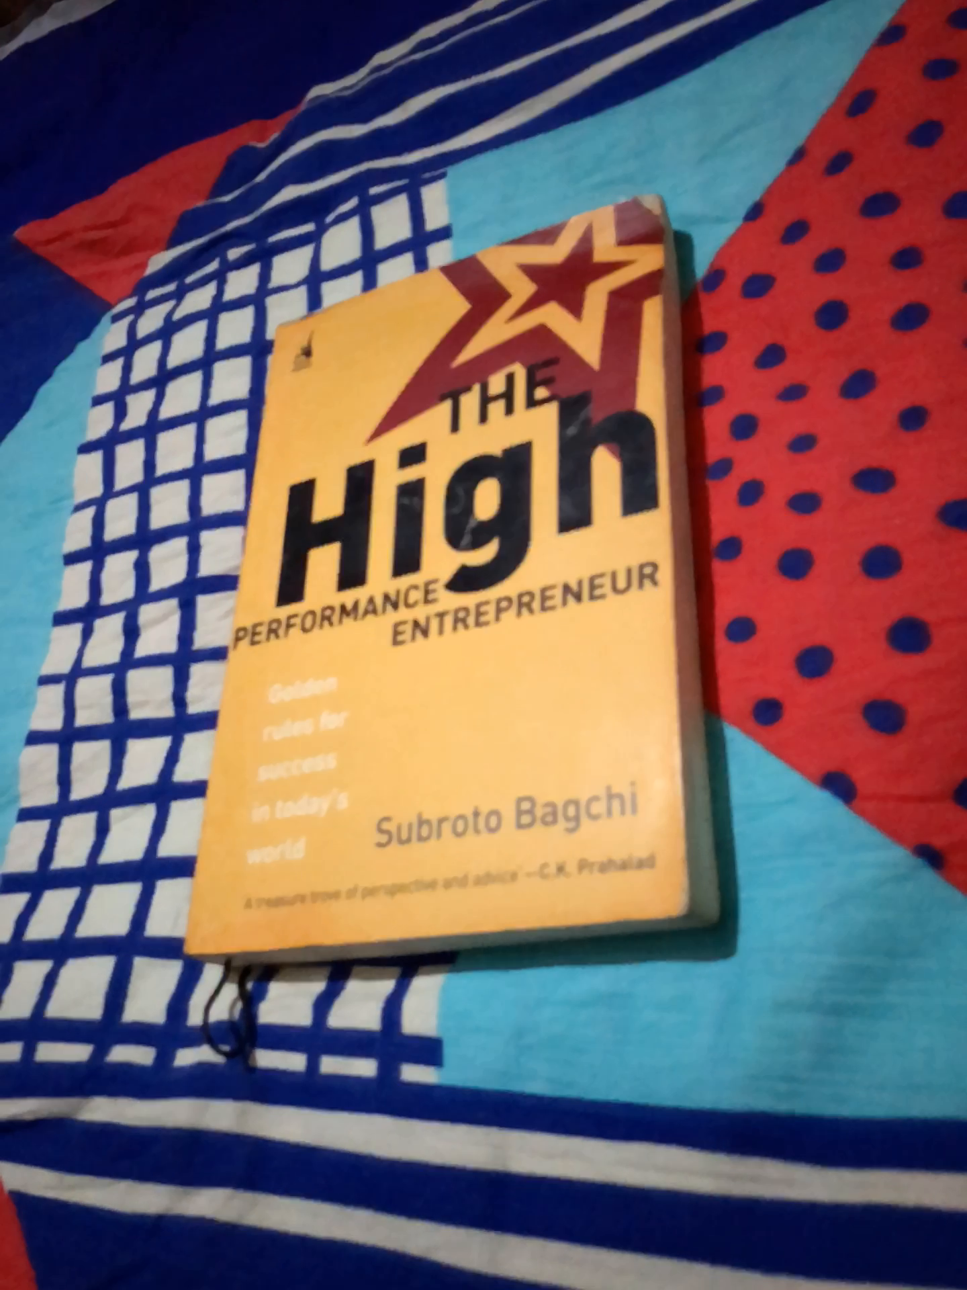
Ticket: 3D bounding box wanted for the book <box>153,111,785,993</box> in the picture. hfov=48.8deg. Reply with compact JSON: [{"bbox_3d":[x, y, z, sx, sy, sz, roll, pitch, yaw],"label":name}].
[{"bbox_3d":[-0.006,-0.032,0.297,0.140,0.040,0.230,-14,57,24],"label":"book"}]
